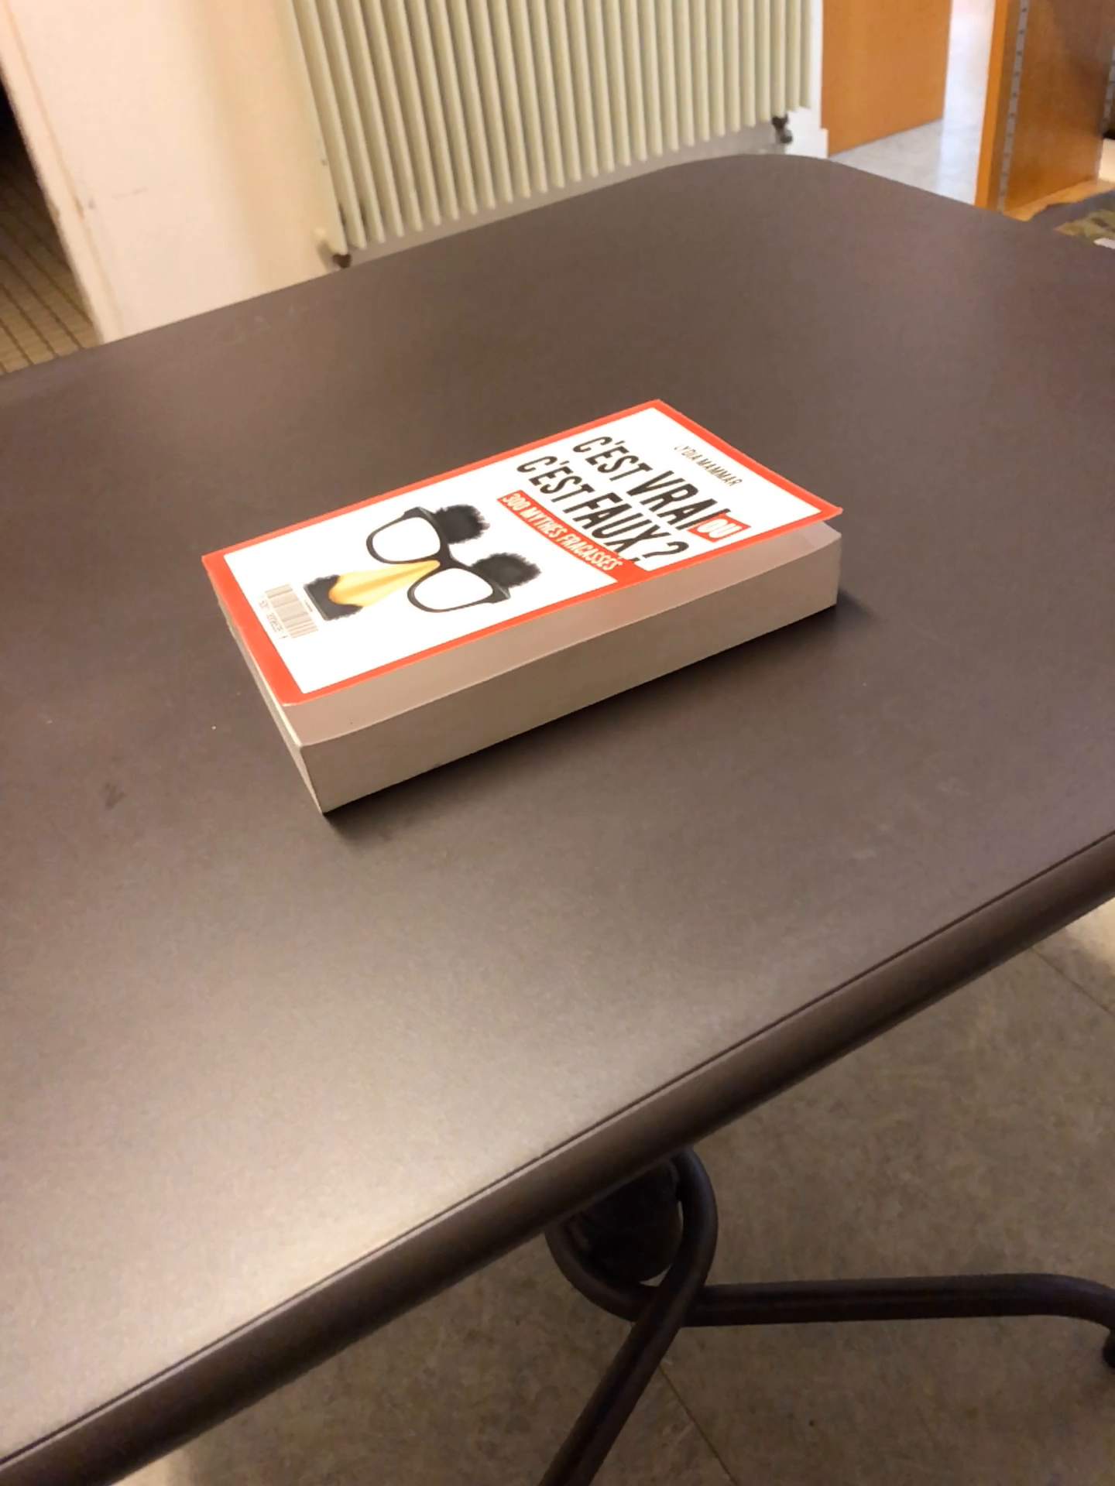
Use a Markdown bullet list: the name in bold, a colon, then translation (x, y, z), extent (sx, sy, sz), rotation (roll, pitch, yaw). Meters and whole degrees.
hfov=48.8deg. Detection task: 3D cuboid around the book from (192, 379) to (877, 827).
- **book**: translation (-0.012, -0.056, 0.397), extent (0.184, 0.034, 0.127), rotation (-22, 38, -14)
